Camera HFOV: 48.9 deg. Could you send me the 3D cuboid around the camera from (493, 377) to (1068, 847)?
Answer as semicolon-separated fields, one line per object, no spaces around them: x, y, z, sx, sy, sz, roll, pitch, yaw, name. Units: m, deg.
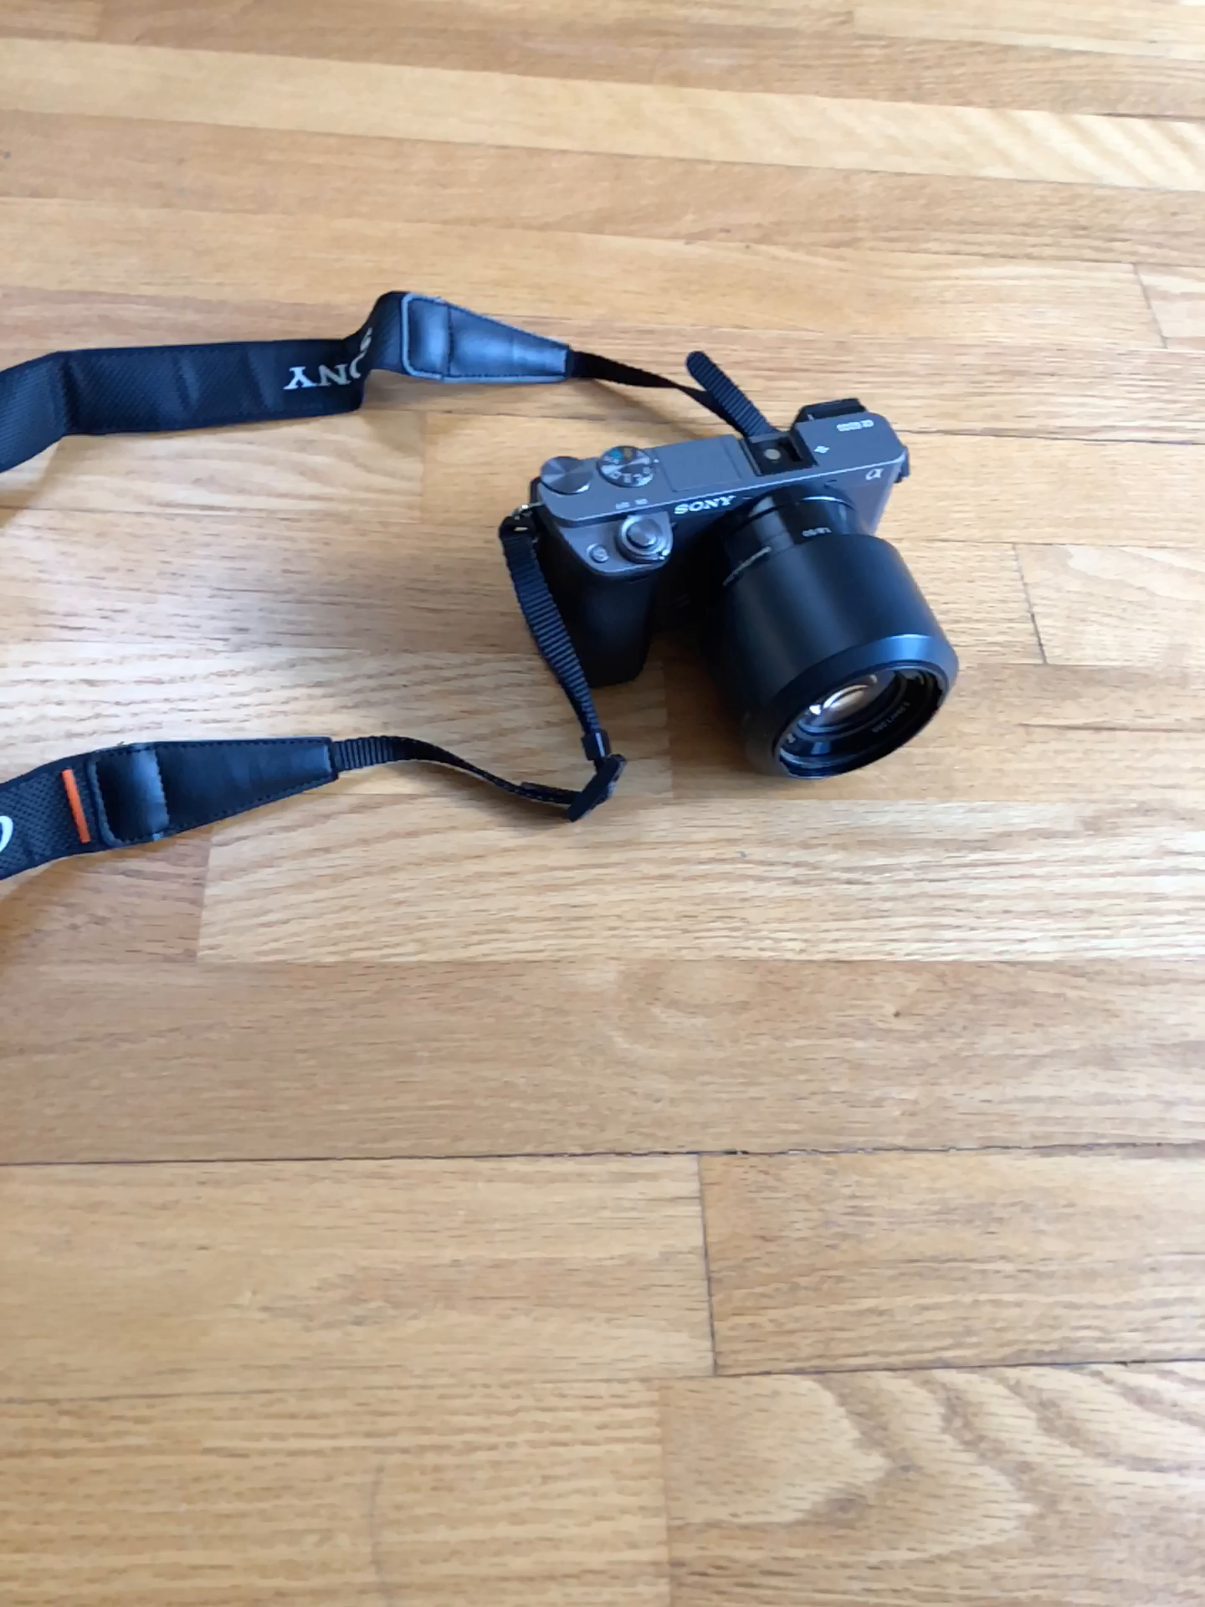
0.049;-0.064;0.420;0.140;0.060;0.110;-14;61;-15;camera
